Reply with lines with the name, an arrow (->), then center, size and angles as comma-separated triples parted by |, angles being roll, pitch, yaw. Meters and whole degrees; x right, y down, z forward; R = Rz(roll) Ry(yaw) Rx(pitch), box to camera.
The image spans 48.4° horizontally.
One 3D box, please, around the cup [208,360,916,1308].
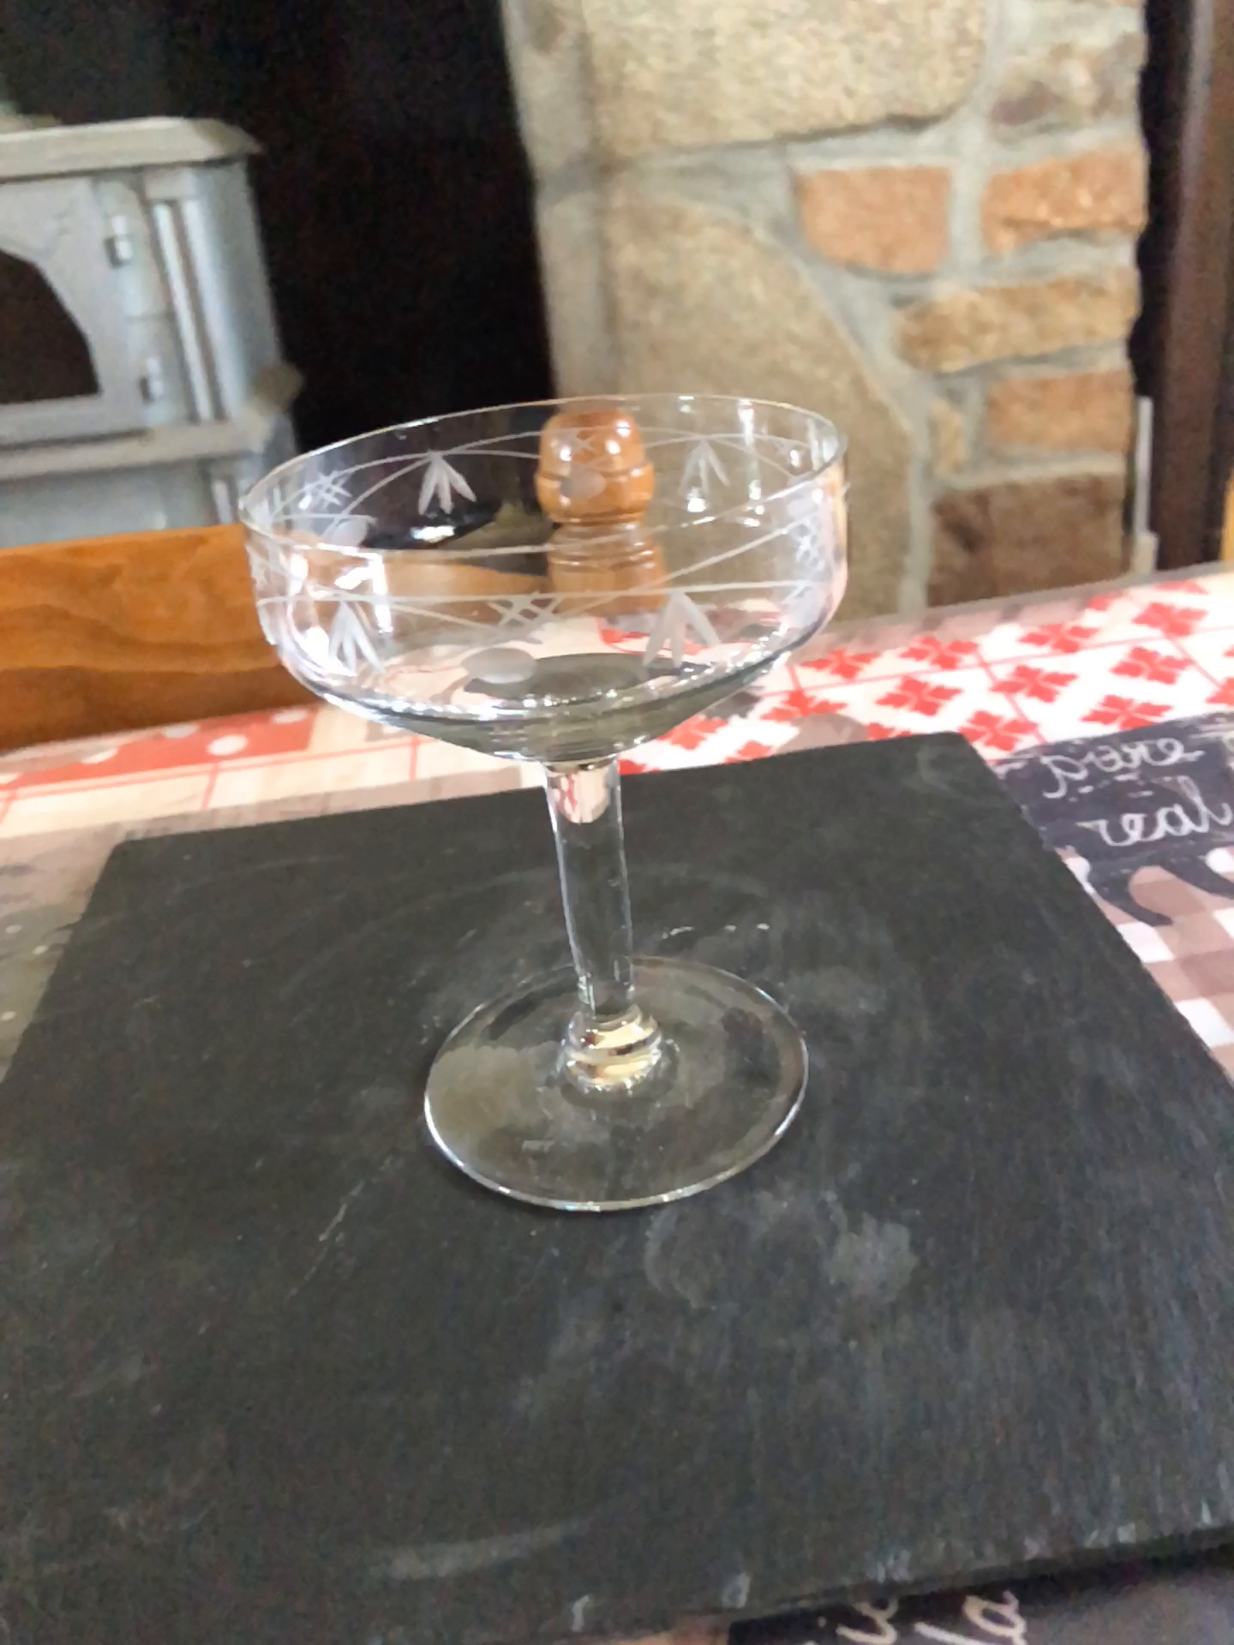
cup -> -0.010, -0.005, 0.235 | 0.090, 0.119, 0.090 | -5, 27, 3
